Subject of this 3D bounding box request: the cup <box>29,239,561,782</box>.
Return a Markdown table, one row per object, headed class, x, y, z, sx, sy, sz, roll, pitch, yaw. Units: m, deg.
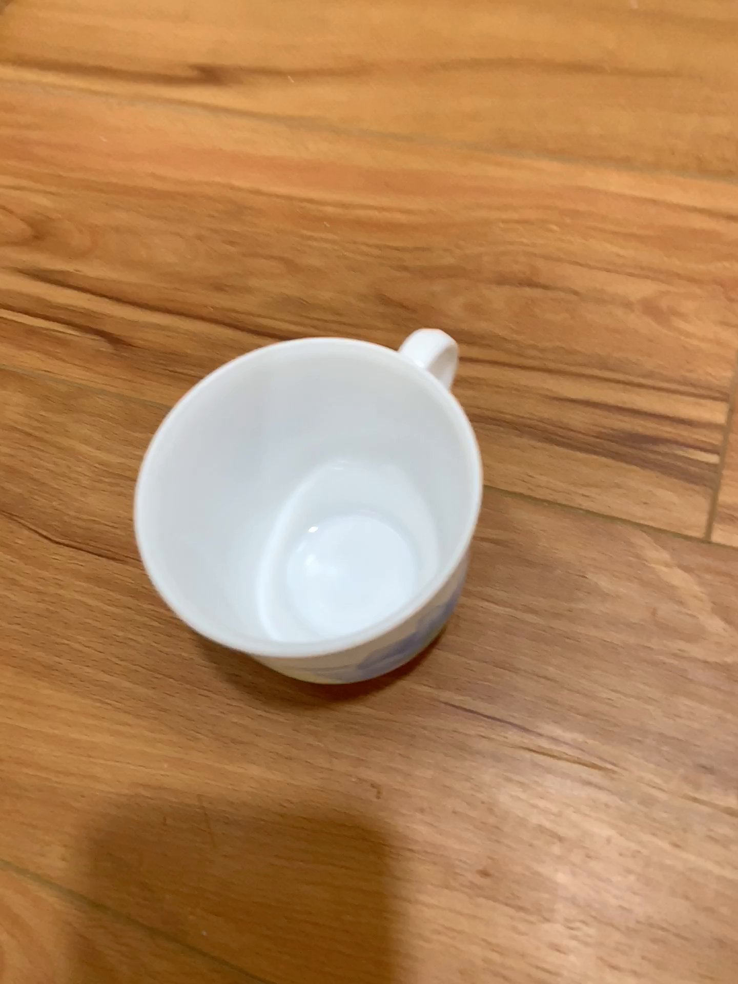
| class | x | y | z | sx | sy | sz | roll | pitch | yaw |
| --- | --- | --- | --- | --- | --- | --- | --- | --- | --- |
| cup | -0.010 | 0.004 | 0.199 | 0.083 | 0.063 | 0.104 | 20 | 68 | 17 |
